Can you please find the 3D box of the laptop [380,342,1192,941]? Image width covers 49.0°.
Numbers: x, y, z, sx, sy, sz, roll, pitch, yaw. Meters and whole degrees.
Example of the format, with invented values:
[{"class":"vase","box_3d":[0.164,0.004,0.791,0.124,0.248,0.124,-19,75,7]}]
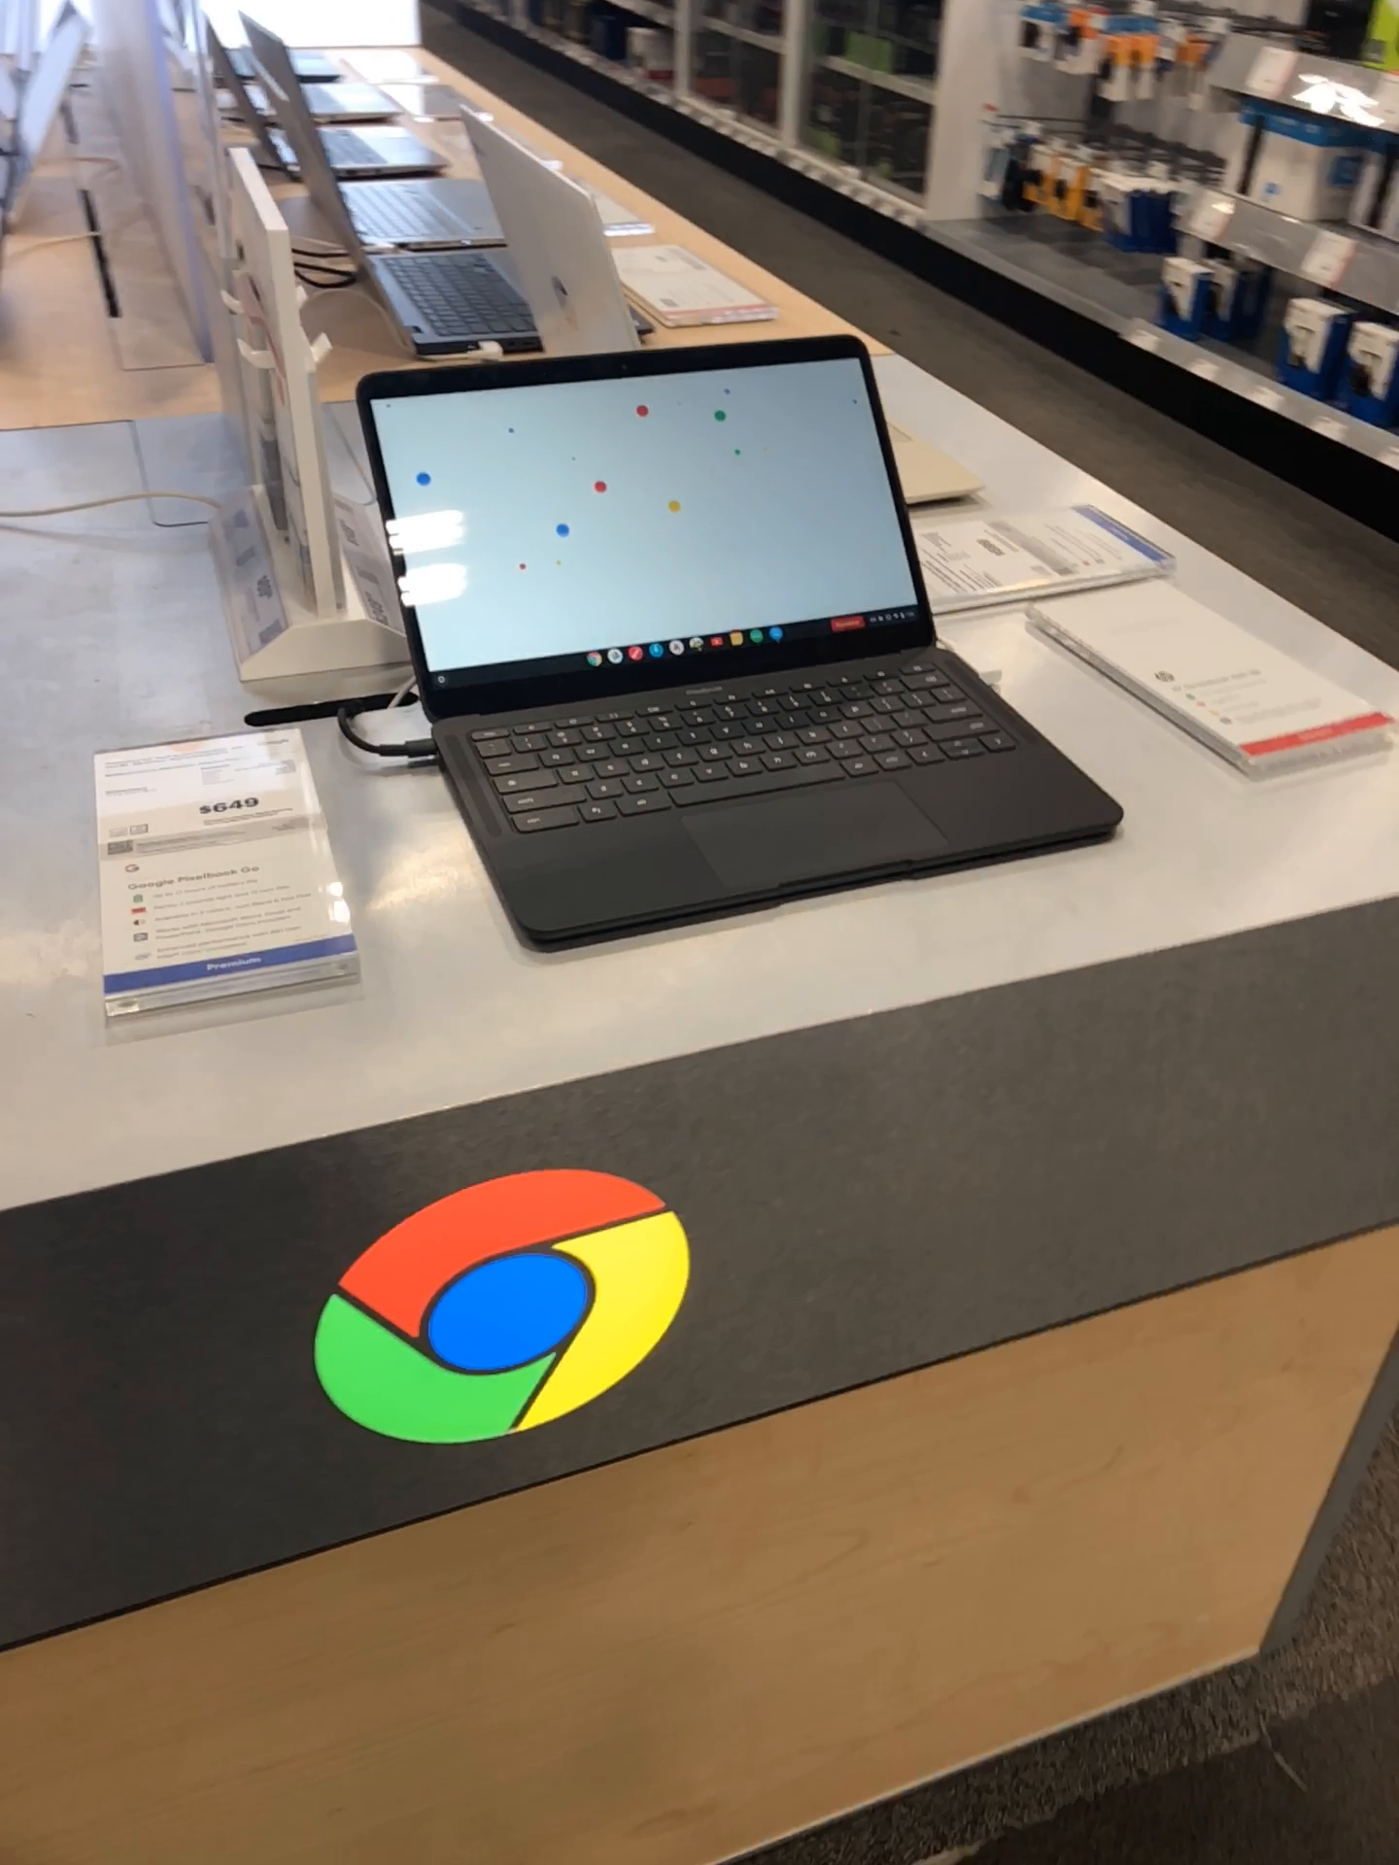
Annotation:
[{"class":"laptop","box_3d":[0.019,-0.175,0.786,0.293,0.134,0.336,-11,39,-17]}]
